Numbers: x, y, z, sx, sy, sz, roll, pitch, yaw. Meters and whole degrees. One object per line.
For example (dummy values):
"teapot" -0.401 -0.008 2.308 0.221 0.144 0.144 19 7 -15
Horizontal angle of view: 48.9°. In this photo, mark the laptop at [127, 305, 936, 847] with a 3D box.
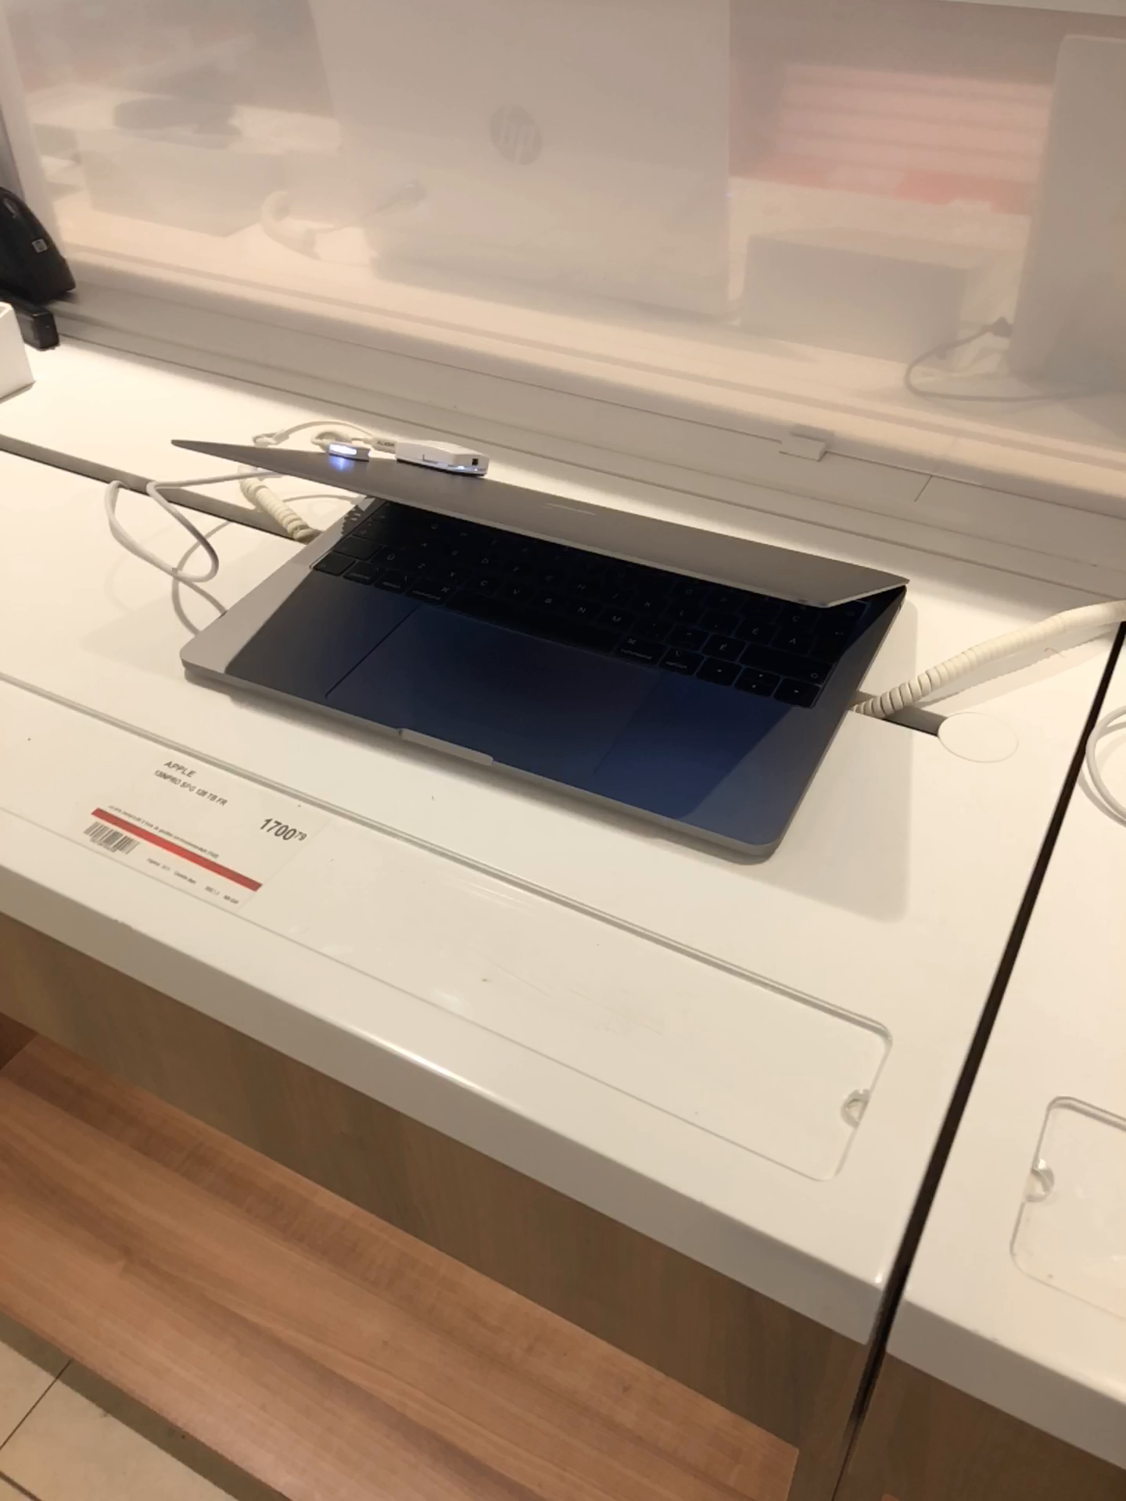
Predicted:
"laptop" -0.008 -0.102 0.587 0.304 0.104 0.202 17 44 21
